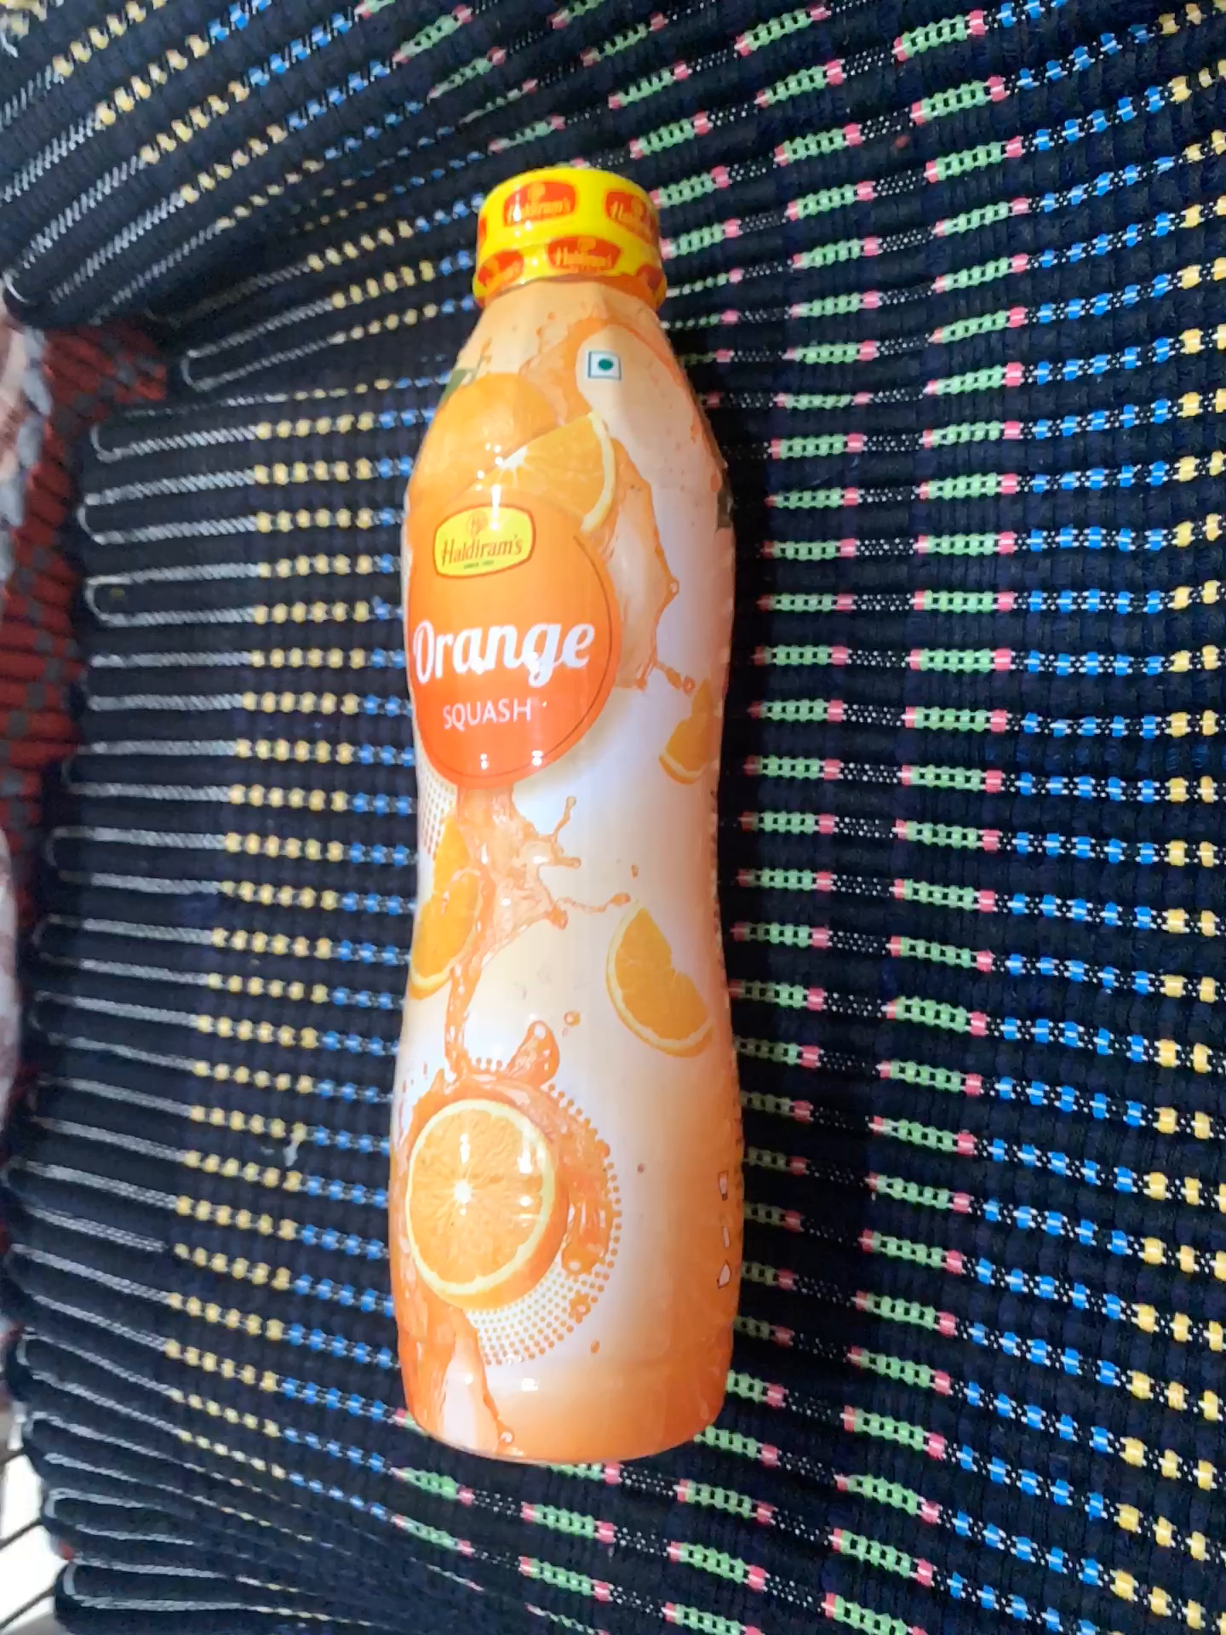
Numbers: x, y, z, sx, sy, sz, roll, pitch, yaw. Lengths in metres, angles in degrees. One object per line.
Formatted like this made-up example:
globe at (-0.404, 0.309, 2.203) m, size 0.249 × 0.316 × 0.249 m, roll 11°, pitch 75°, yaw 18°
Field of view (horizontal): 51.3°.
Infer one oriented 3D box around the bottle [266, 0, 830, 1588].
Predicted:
bottle at (-0.007, -0.009, 0.242) m, size 0.080 × 0.060 × 0.250 m, roll -2°, pitch 82°, yaw 28°
